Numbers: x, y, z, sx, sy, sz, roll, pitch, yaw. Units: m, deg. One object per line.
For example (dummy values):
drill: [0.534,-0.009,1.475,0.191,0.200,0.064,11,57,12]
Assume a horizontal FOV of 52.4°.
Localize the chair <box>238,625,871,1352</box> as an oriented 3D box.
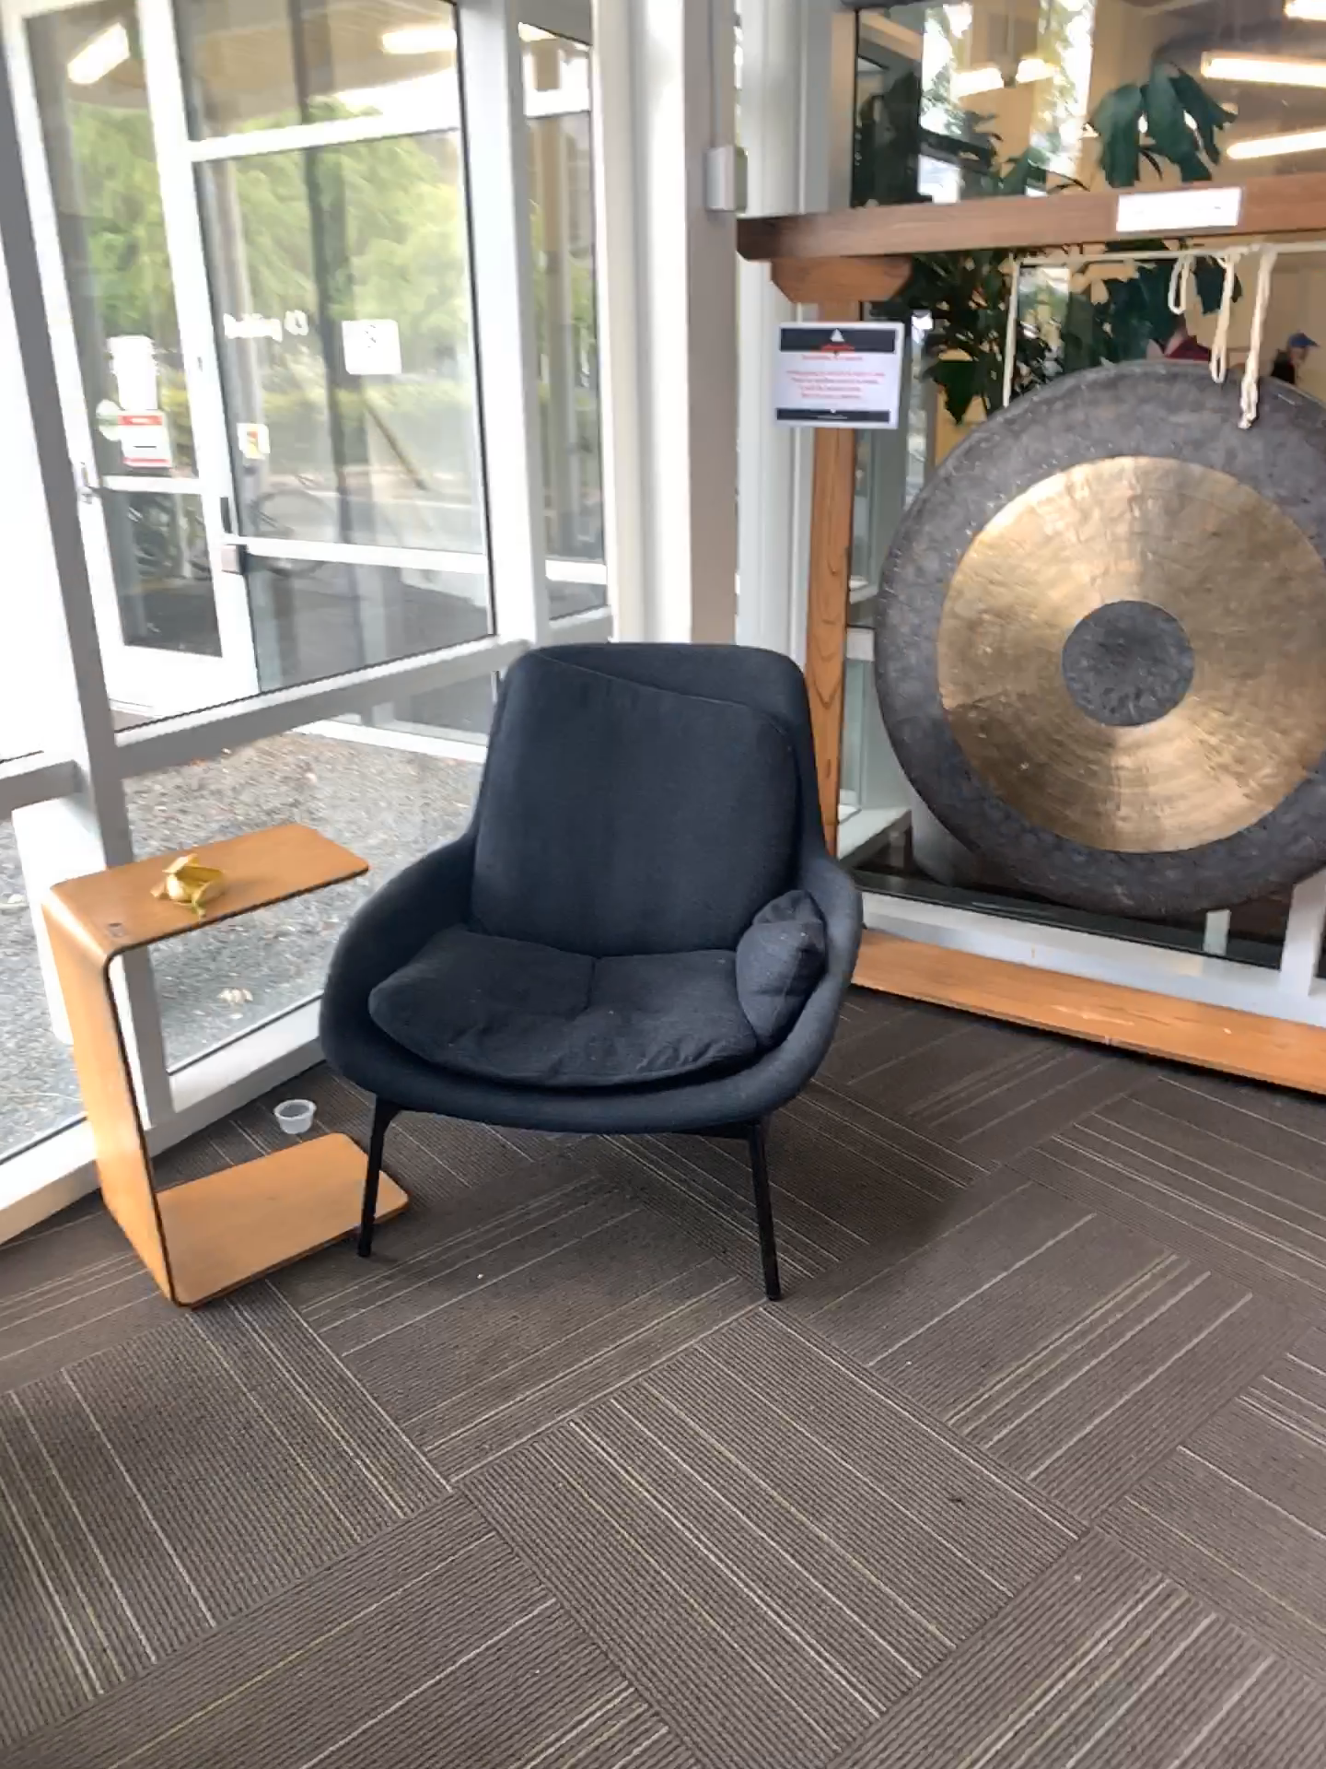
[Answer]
chair: [-0.097,0.103,2.519,0.900,0.995,0.944,2,21,9]
